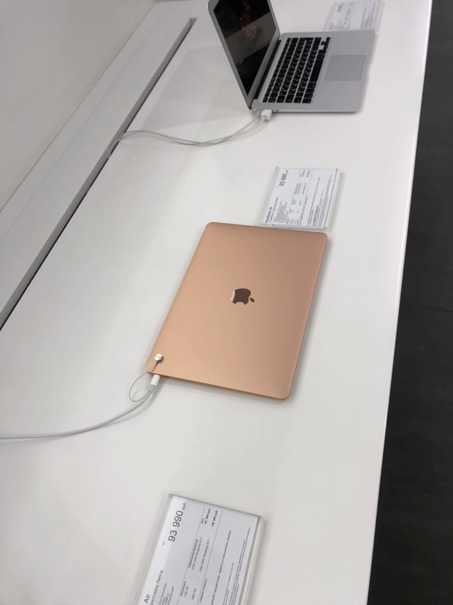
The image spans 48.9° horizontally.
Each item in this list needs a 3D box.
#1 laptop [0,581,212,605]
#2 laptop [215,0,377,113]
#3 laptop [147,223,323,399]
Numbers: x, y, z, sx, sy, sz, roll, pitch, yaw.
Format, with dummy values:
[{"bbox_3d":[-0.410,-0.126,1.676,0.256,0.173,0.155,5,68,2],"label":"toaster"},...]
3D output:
[{"bbox_3d":[-0.219,0.432,0.365,0.312,0.180,0.304,8,56,17],"label":"laptop"},{"bbox_3d":[0.164,-0.593,1.045,0.257,0.213,0.346,5,53,16],"label":"laptop"},{"bbox_3d":[0.022,-0.006,0.763,0.201,0.005,0.294,8,56,16],"label":"laptop"}]
